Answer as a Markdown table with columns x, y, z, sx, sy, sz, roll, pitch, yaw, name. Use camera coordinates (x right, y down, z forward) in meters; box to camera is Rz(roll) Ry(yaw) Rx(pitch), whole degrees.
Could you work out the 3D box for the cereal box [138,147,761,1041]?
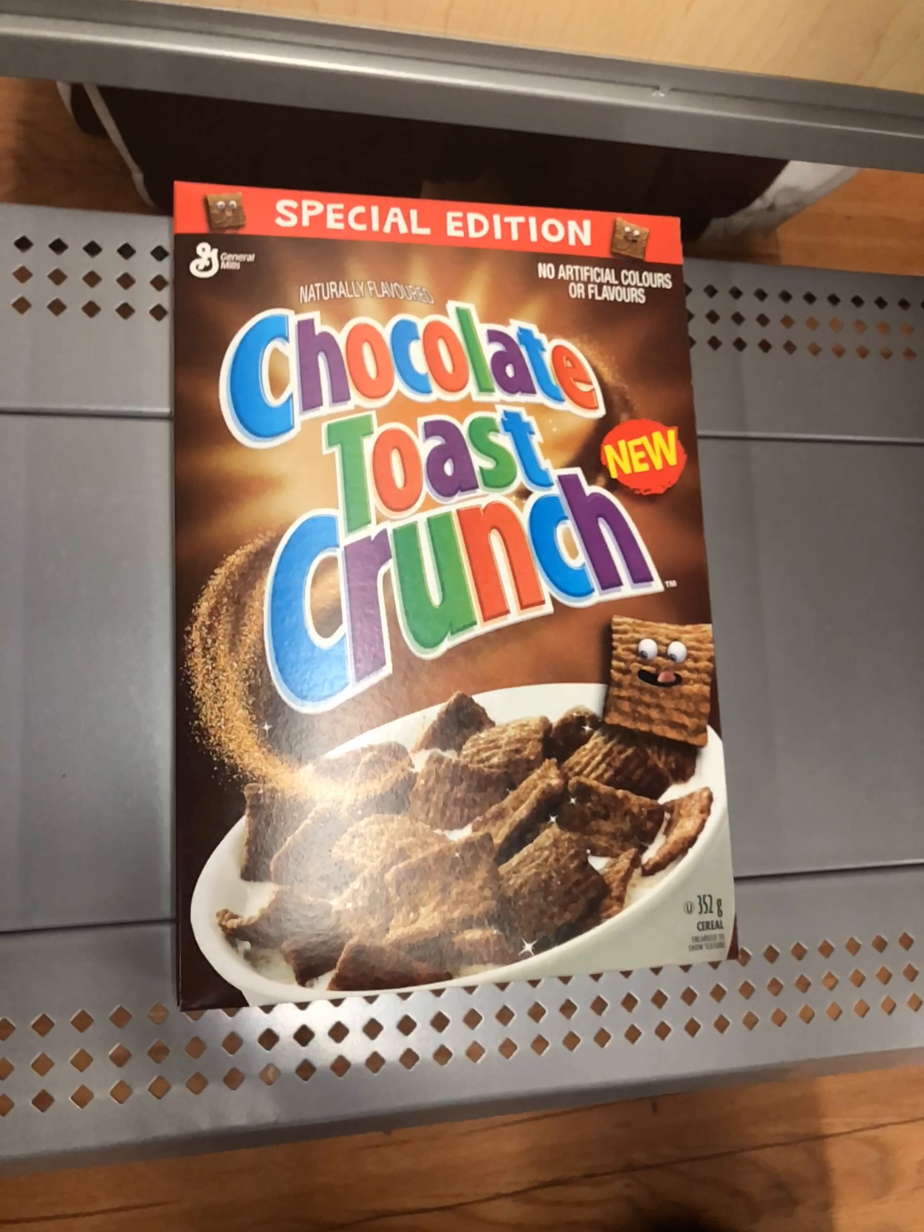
| x | y | z | sx | sy | sz | roll | pitch | yaw | name |
| --- | --- | --- | --- | --- | --- | --- | --- | --- | --- |
| -0.014 | -0.011 | 0.390 | 0.200 | 0.090 | 0.290 | 0 | 79 | -13 | cereal box |
